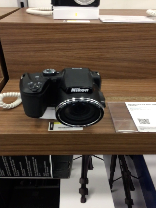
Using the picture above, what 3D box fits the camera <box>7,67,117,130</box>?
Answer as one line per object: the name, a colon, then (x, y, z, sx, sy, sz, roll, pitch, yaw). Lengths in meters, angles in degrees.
camera: (-0.022, -0.012, 0.314, 0.136, 0.063, 0.096, -1, 32, -3)
